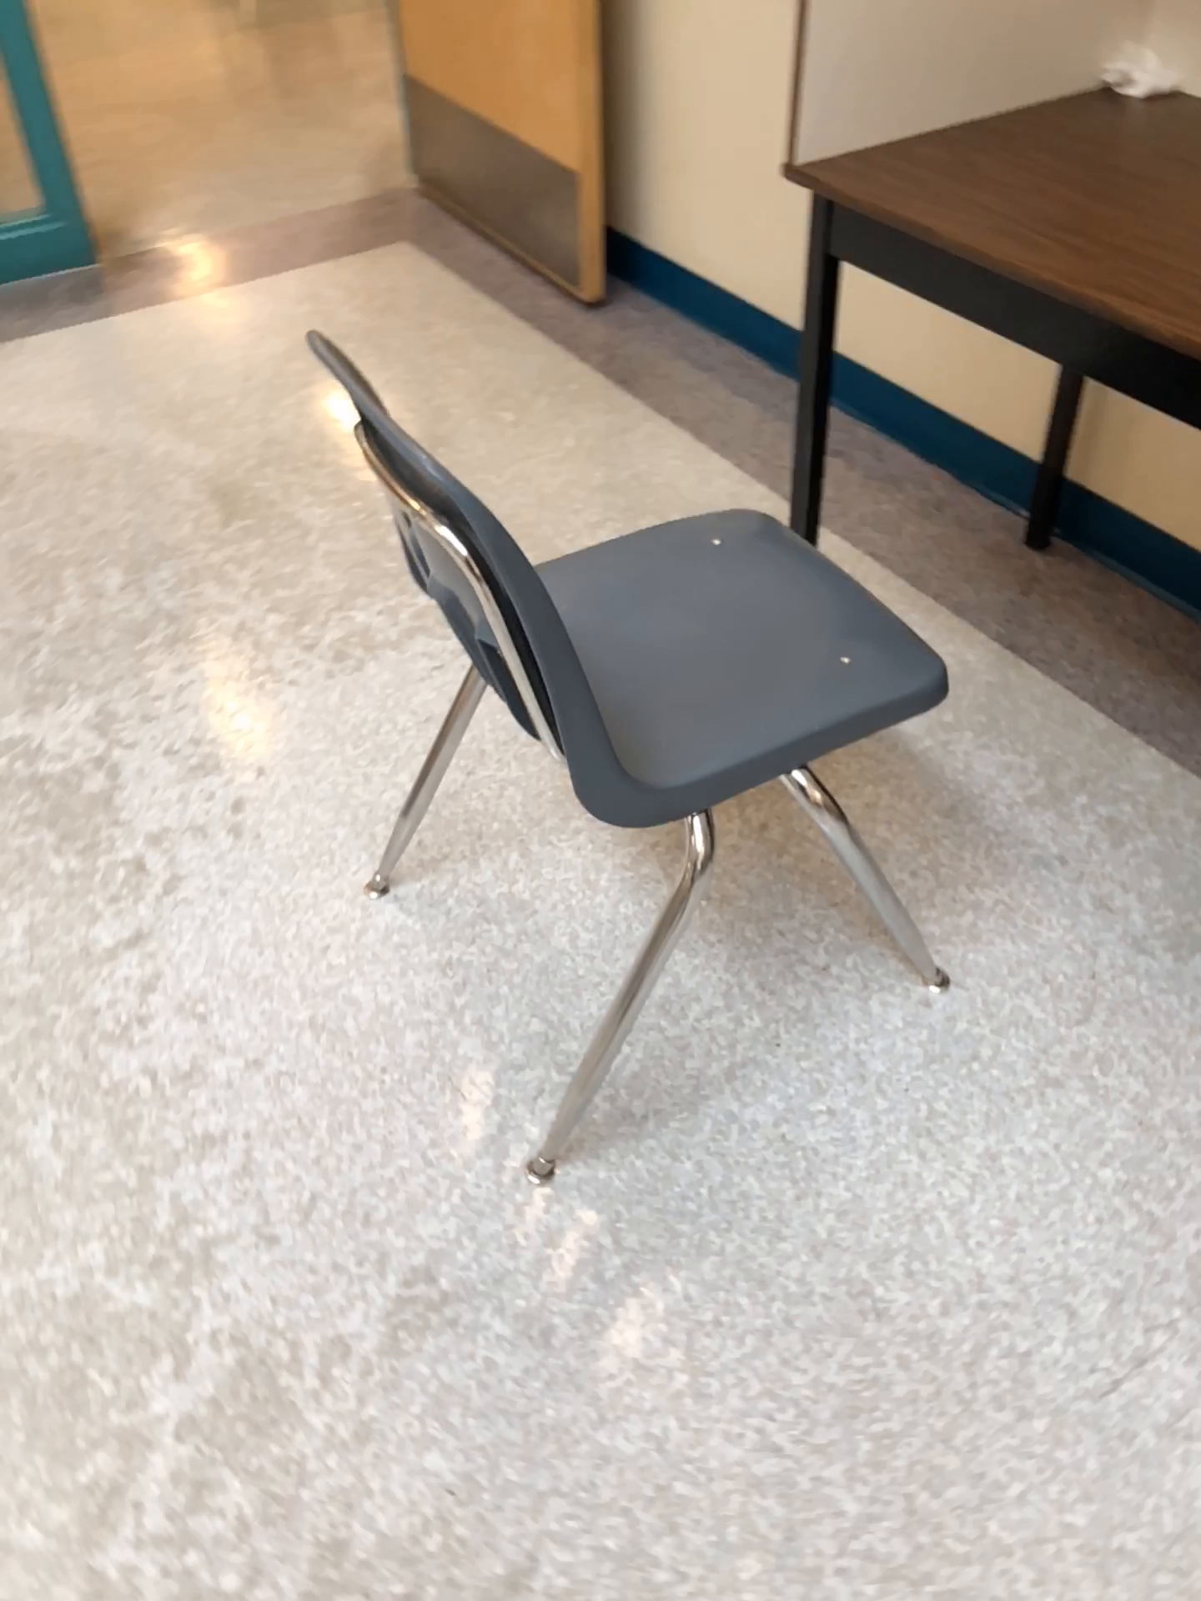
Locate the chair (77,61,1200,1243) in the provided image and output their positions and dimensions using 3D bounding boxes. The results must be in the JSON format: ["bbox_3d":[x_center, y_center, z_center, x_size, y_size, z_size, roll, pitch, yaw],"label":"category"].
[{"bbox_3d":[0.003,-0.157,1.169,0.611,0.695,0.593,-20,46,-18],"label":"chair"}]
